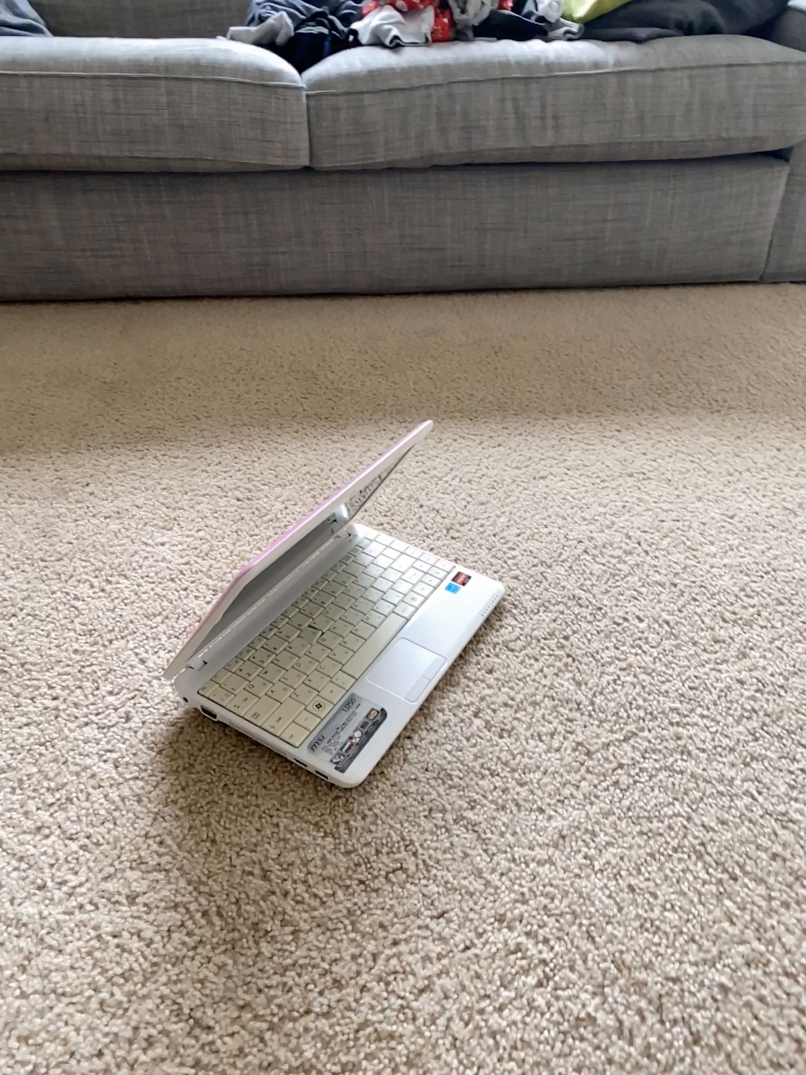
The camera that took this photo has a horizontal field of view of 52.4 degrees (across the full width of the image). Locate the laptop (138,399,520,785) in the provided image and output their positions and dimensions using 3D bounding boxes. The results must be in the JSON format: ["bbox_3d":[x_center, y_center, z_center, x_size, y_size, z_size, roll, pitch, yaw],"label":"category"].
[{"bbox_3d":[-0.046,0.026,0.723,0.188,0.147,0.287,21,40,22],"label":"laptop"}]
